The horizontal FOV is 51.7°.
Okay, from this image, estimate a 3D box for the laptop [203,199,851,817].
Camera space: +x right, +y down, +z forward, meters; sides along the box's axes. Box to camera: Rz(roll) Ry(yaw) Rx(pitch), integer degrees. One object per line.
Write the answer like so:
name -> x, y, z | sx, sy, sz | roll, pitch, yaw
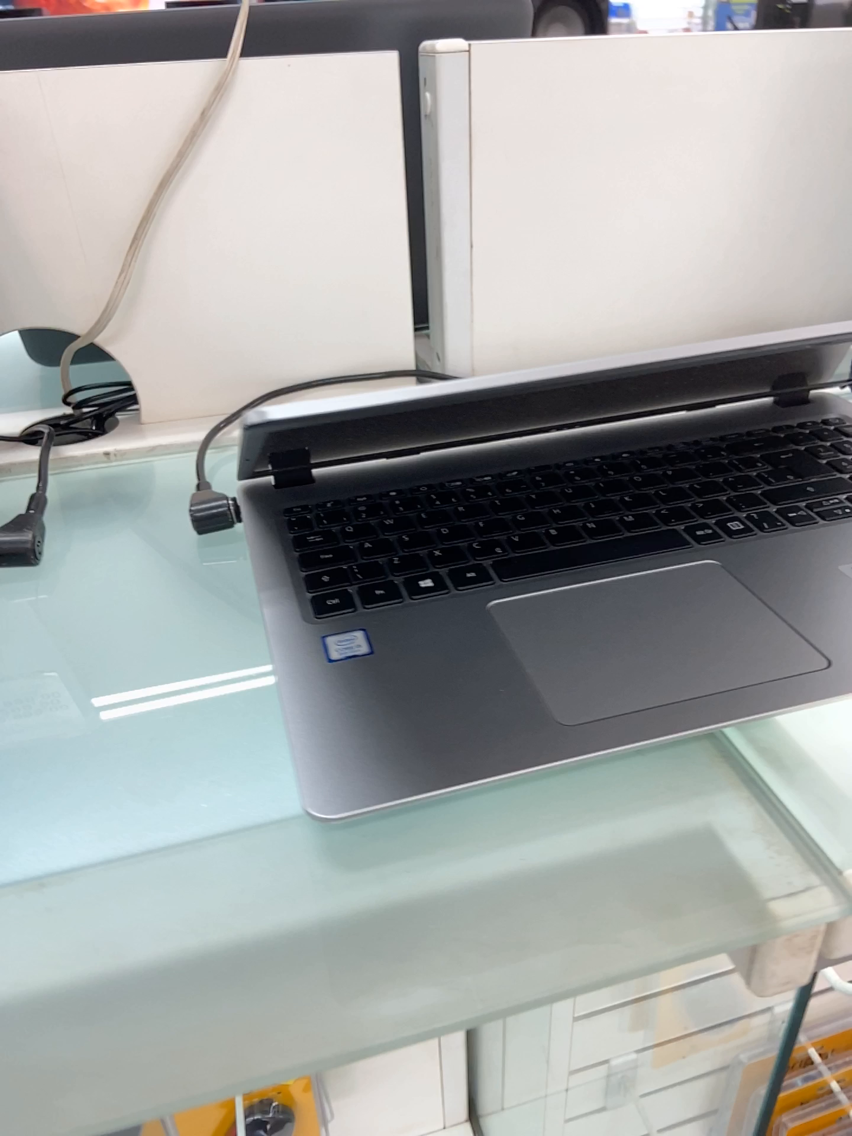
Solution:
laptop -> 0.106, -0.067, 0.381 | 0.364, 0.116, 0.246 | -10, 31, -13
